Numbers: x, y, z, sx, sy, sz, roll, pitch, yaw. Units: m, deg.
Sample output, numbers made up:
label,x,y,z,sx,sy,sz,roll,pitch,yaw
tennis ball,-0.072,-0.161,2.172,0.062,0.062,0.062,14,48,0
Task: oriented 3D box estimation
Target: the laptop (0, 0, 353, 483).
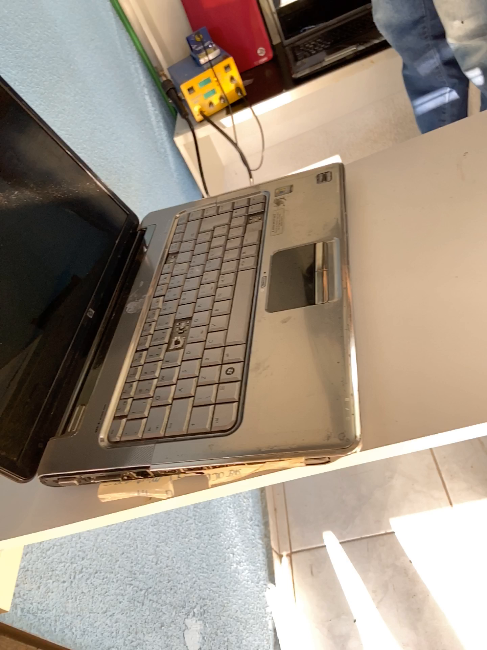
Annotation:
label,x,y,z,sx,sy,sz,roll,pitch,yaw
laptop,-0.111,-0.100,0.412,0.328,0.233,0.353,-11,43,20
